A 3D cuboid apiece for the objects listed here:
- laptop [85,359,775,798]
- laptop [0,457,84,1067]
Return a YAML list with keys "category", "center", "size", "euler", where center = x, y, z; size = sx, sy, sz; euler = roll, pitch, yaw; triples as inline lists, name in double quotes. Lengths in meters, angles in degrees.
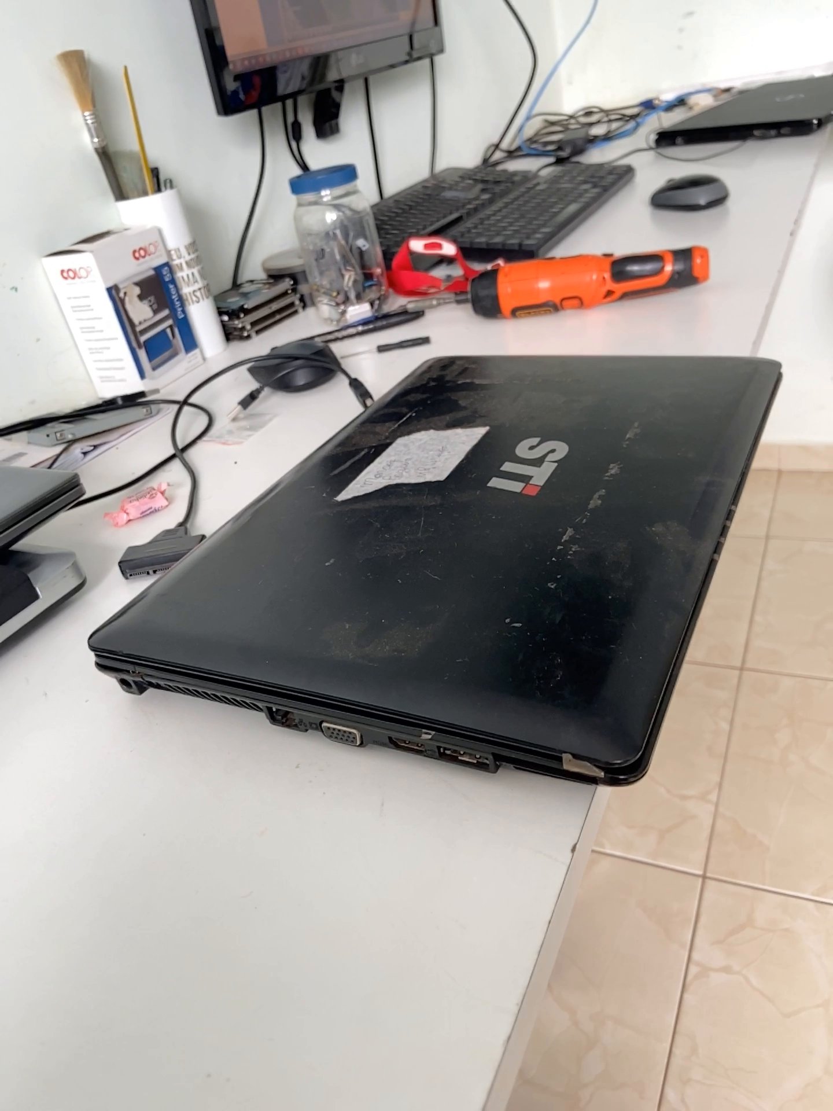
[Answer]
- category: "laptop"
  center: [0.037, -0.033, 0.437]
  size: [0.230, 0.011, 0.339]
  euler: [8, 35, 26]
- category: "laptop"
  center: [-0.354, 0.029, 0.387]
  size: [0.227, 0.006, 0.345]
  euler: [4, 31, 24]
